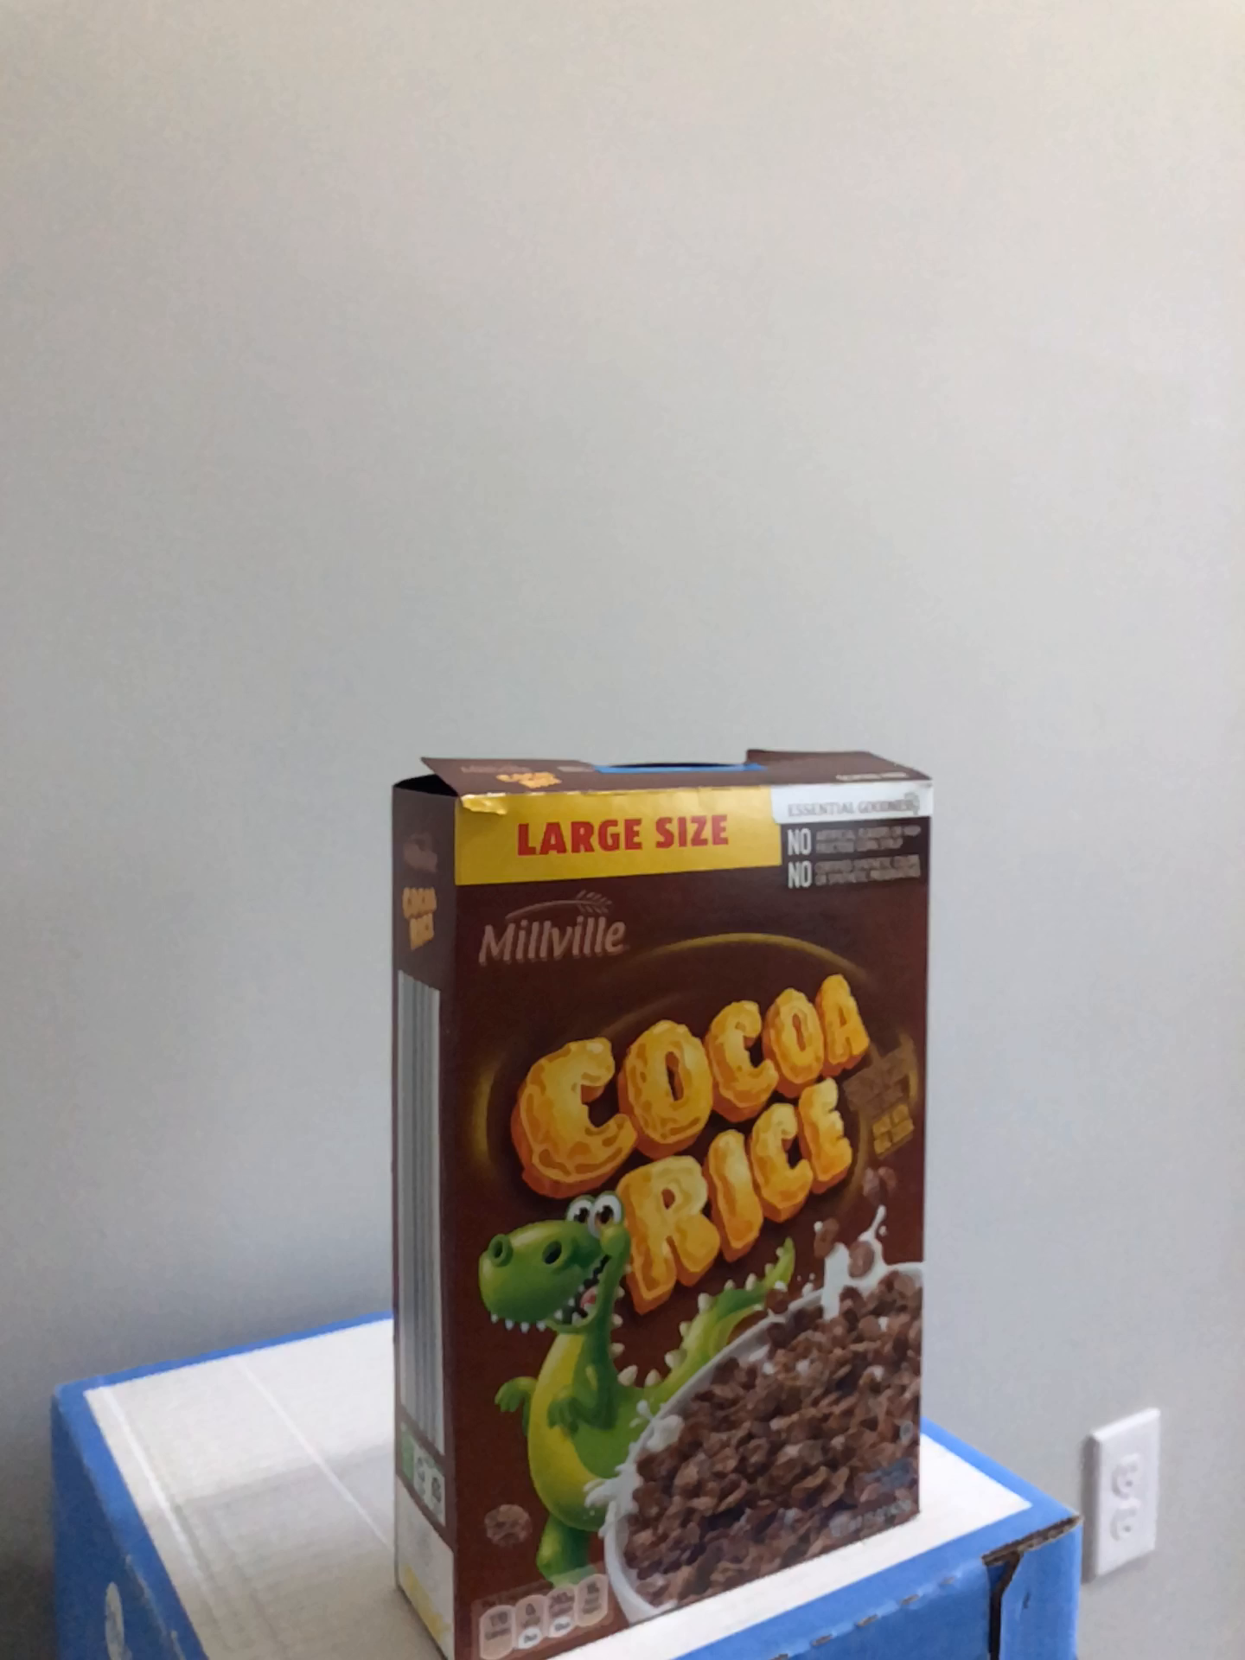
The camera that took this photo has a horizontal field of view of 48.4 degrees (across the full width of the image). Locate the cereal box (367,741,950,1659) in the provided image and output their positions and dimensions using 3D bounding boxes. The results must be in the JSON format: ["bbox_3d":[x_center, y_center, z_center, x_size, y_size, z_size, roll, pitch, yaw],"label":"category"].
[{"bbox_3d":[0.017,0.115,0.490,0.200,0.290,0.060,-2,5,-30],"label":"cereal box"}]
